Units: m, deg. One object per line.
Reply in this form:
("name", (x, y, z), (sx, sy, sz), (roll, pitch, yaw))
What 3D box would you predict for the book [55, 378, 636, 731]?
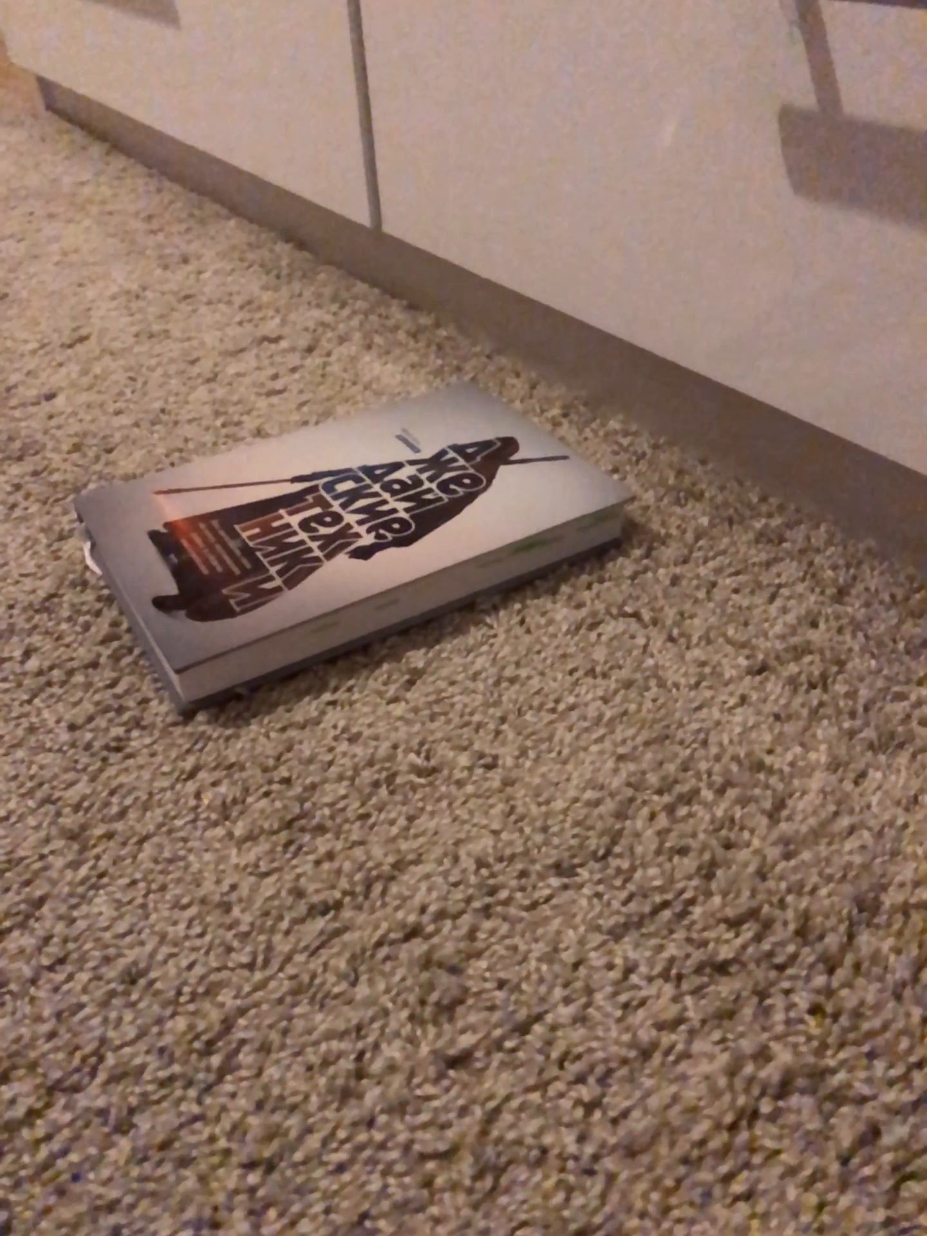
("book", (-0.056, -0.044, 0.470), (0.221, 0.026, 0.151), (-22, 42, -23))
